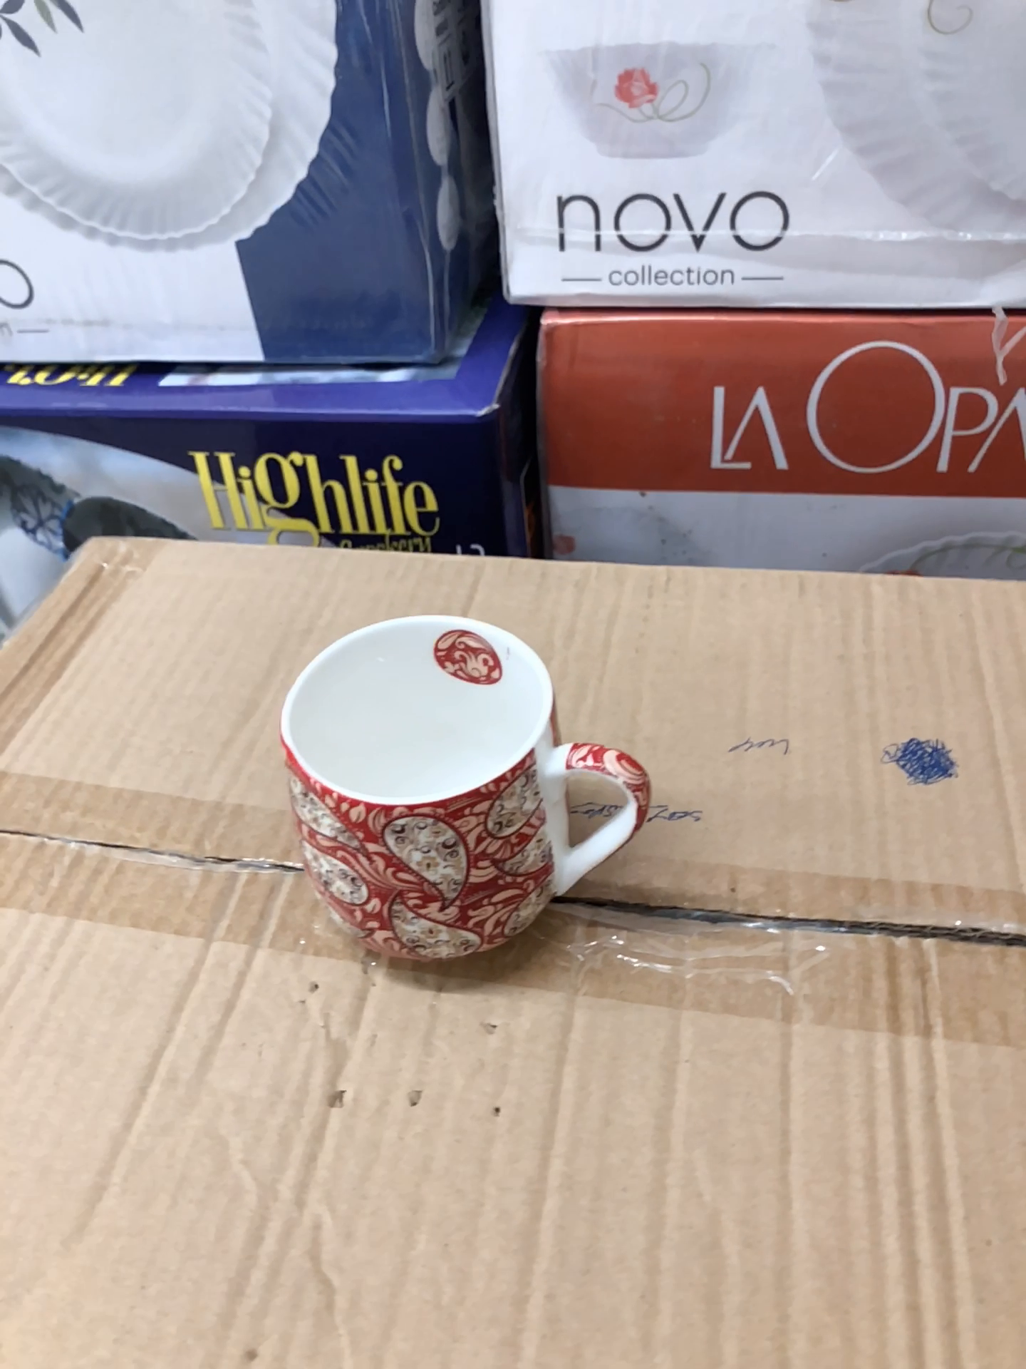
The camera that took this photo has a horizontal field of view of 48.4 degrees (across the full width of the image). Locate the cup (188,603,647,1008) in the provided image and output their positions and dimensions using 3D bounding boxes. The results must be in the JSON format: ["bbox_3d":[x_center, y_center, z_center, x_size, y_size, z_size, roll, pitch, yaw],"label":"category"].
[{"bbox_3d":[-0.014,0.026,0.269,0.090,0.060,0.070,1,39,7],"label":"cup"}]
